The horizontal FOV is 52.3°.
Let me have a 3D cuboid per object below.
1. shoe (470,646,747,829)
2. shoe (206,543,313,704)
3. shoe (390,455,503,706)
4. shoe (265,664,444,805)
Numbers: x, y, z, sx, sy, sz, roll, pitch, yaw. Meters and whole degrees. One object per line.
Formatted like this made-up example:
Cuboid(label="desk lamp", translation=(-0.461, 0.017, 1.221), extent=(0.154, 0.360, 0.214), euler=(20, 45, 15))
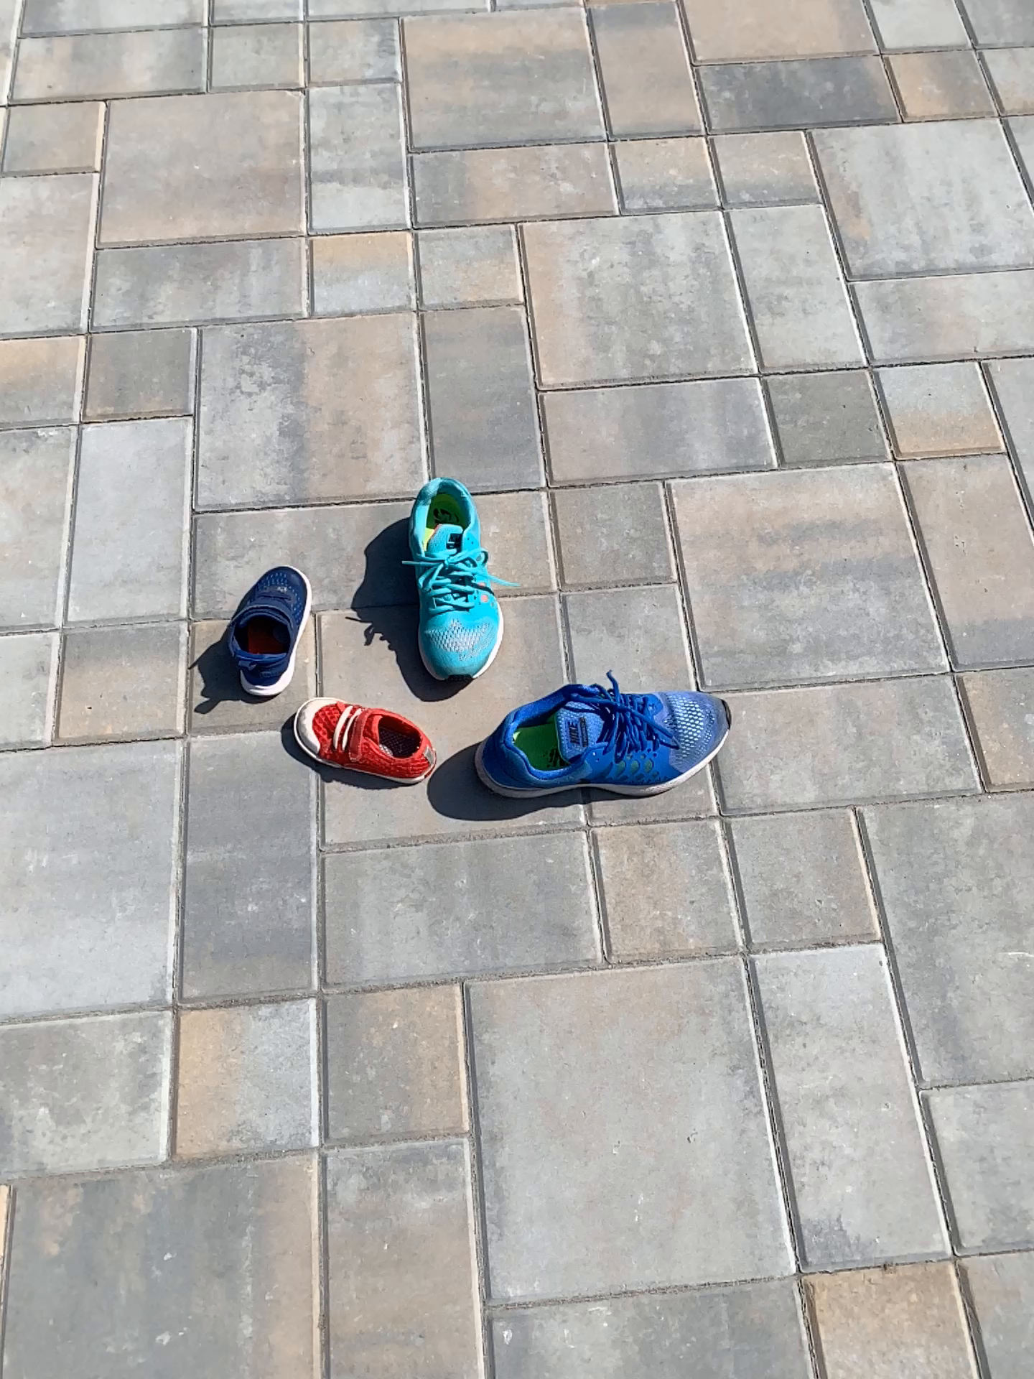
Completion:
Cuboid(label="shoe", translation=(0.083, 0.049, 1.033), extent=(0.240, 0.110, 0.110), euler=(-10, 68, -4))
Cuboid(label="shoe", translation=(-0.265, -0.069, 1.096), extent=(0.080, 0.070, 0.150), euler=(1, 68, 0))
Cuboid(label="shoe", translation=(-0.074, -0.116, 1.117), extent=(0.100, 0.100, 0.240), euler=(-4, 68, -2))
Cuboid(label="shoe", translation=(-0.159, 0.046, 1.056), extent=(0.150, 0.080, 0.080), euler=(16, 69, 6))
